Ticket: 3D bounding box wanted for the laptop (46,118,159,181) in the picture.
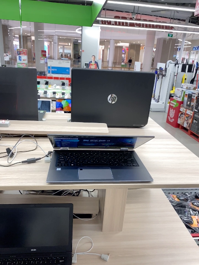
[{"bbox_3d":[-0.003,0.048,0.689,0.320,0.128,0.218,1,20,-7],"label":"laptop"}]
